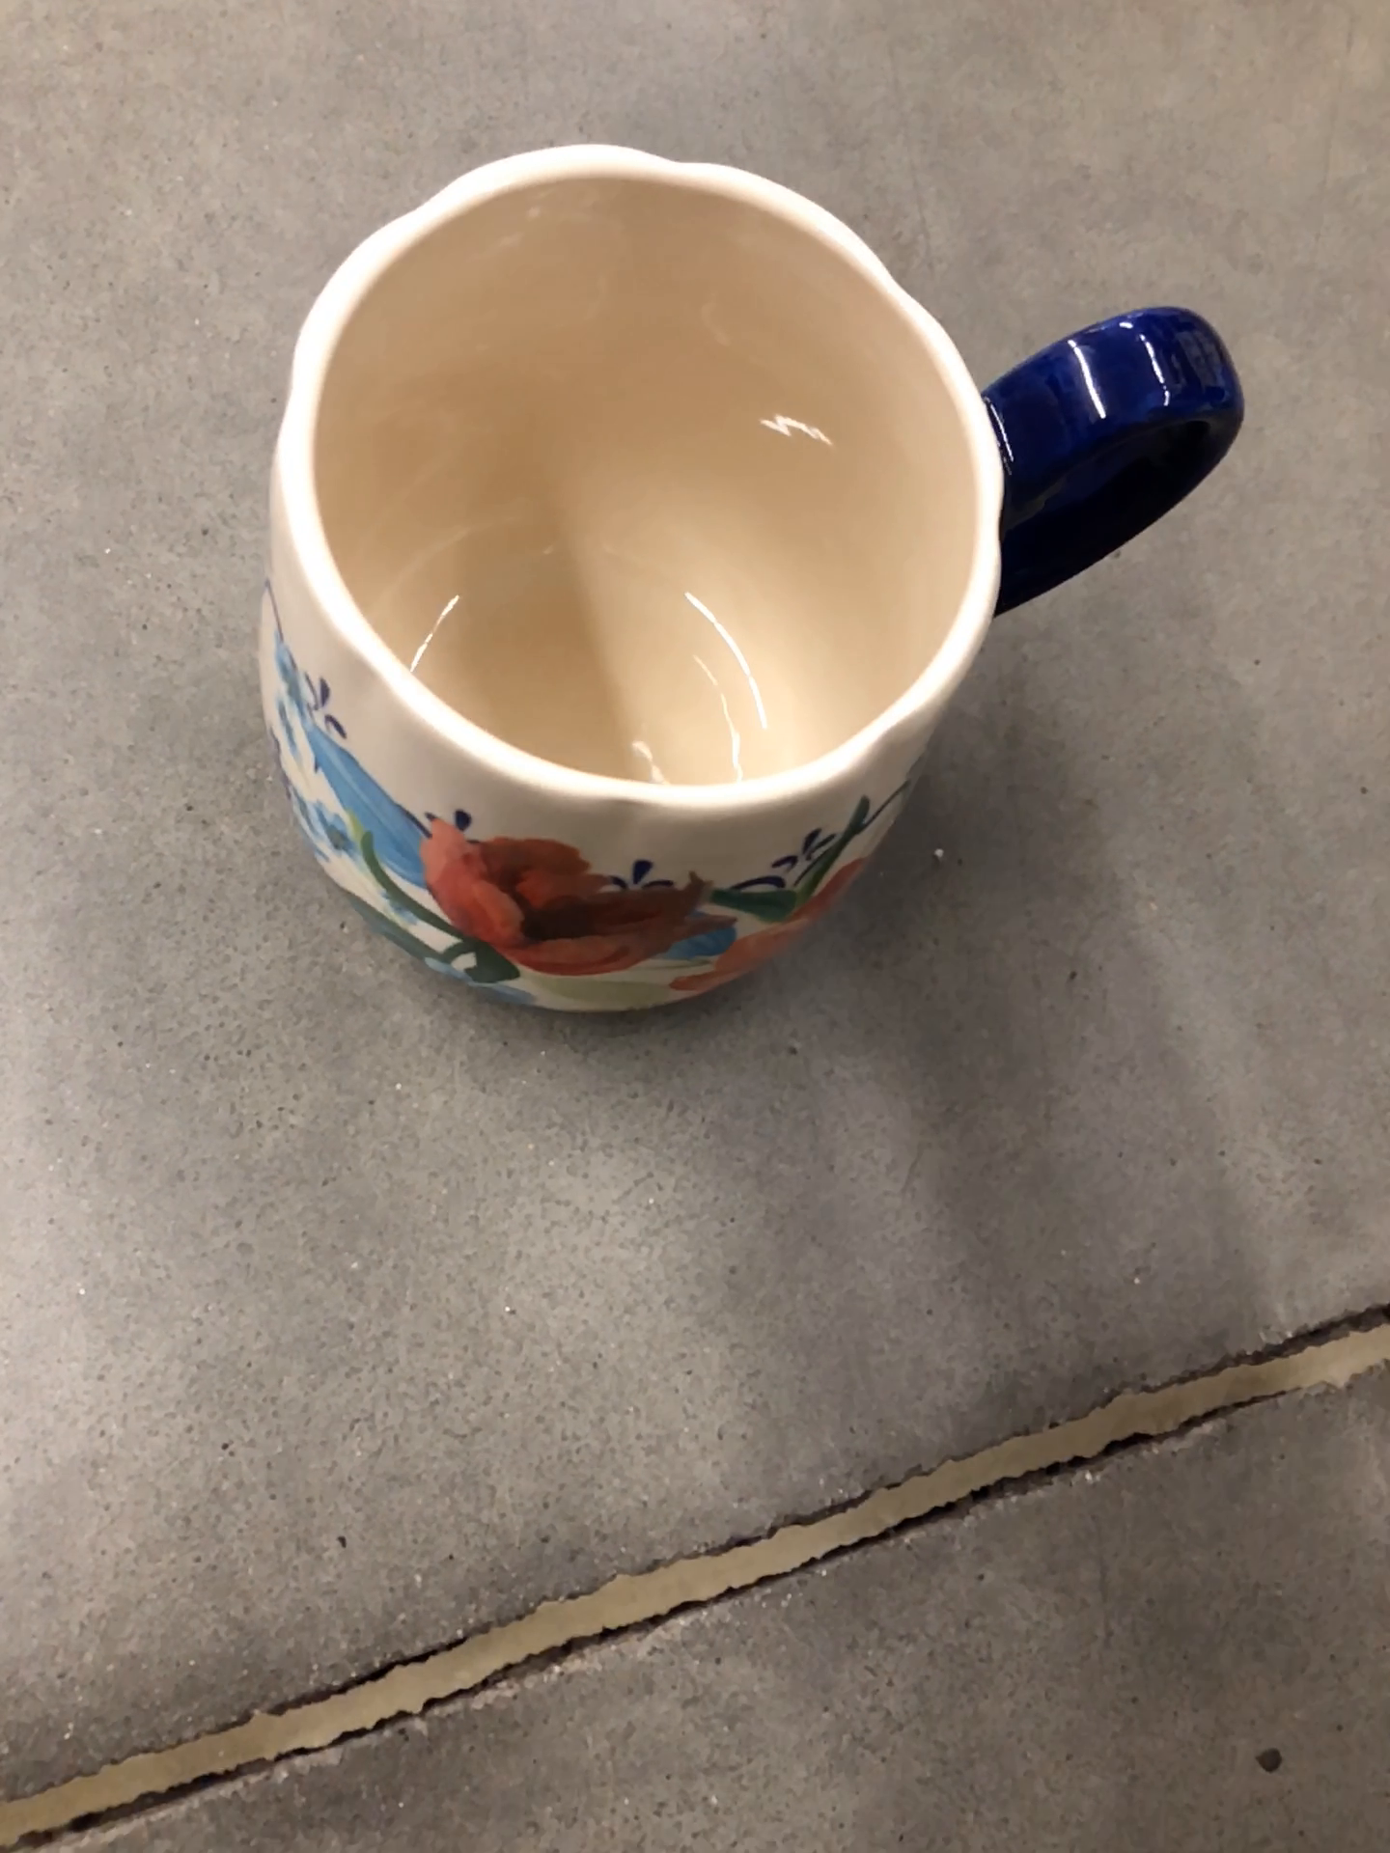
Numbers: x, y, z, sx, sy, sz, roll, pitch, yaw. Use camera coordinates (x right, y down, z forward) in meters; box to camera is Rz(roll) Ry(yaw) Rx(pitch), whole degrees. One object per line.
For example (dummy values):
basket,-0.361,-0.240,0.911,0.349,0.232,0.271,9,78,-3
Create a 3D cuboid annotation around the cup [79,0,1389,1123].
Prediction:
cup,0.005,-0.047,0.229,0.140,0.100,0.100,-19,82,-13
